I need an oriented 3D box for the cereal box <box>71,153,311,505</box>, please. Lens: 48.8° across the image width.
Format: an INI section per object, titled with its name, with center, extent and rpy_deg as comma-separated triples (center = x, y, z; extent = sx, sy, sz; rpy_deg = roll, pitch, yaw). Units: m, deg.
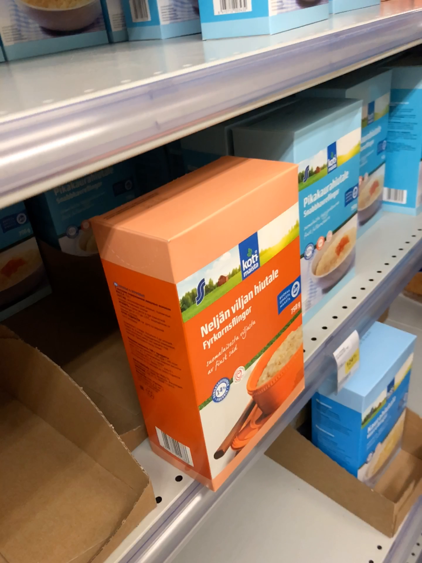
[cereal box]
center = 0.004, 0.033, 0.381
extent = 0.080, 0.229, 0.151
rpy_deg = 17, 39, 38
